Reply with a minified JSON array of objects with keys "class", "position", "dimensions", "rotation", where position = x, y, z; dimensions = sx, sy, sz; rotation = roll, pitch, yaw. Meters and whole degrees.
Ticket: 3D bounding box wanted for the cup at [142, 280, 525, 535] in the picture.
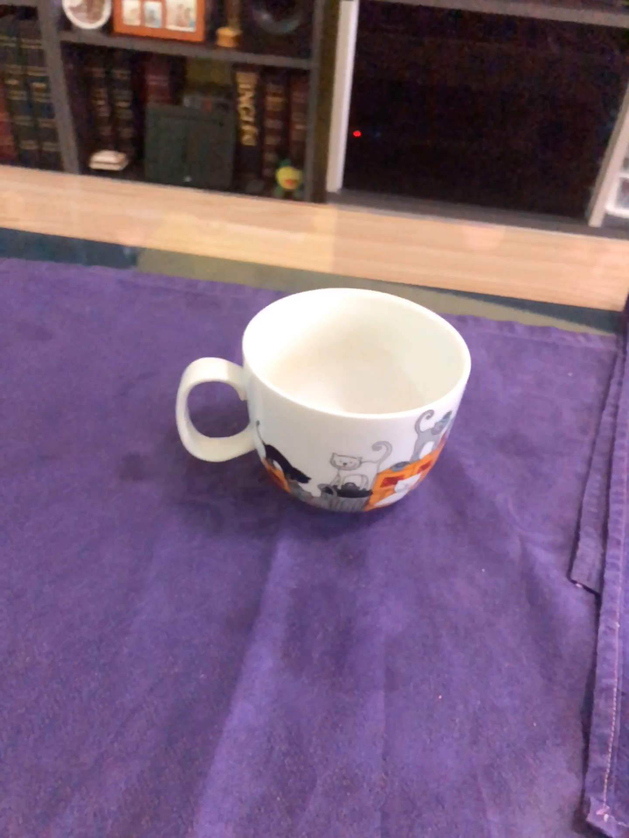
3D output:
[{"class":"cup","position":[0.005,-0.006,0.313],"dimensions":[0.140,0.070,0.090],"rotation":[1,40,-4]}]
